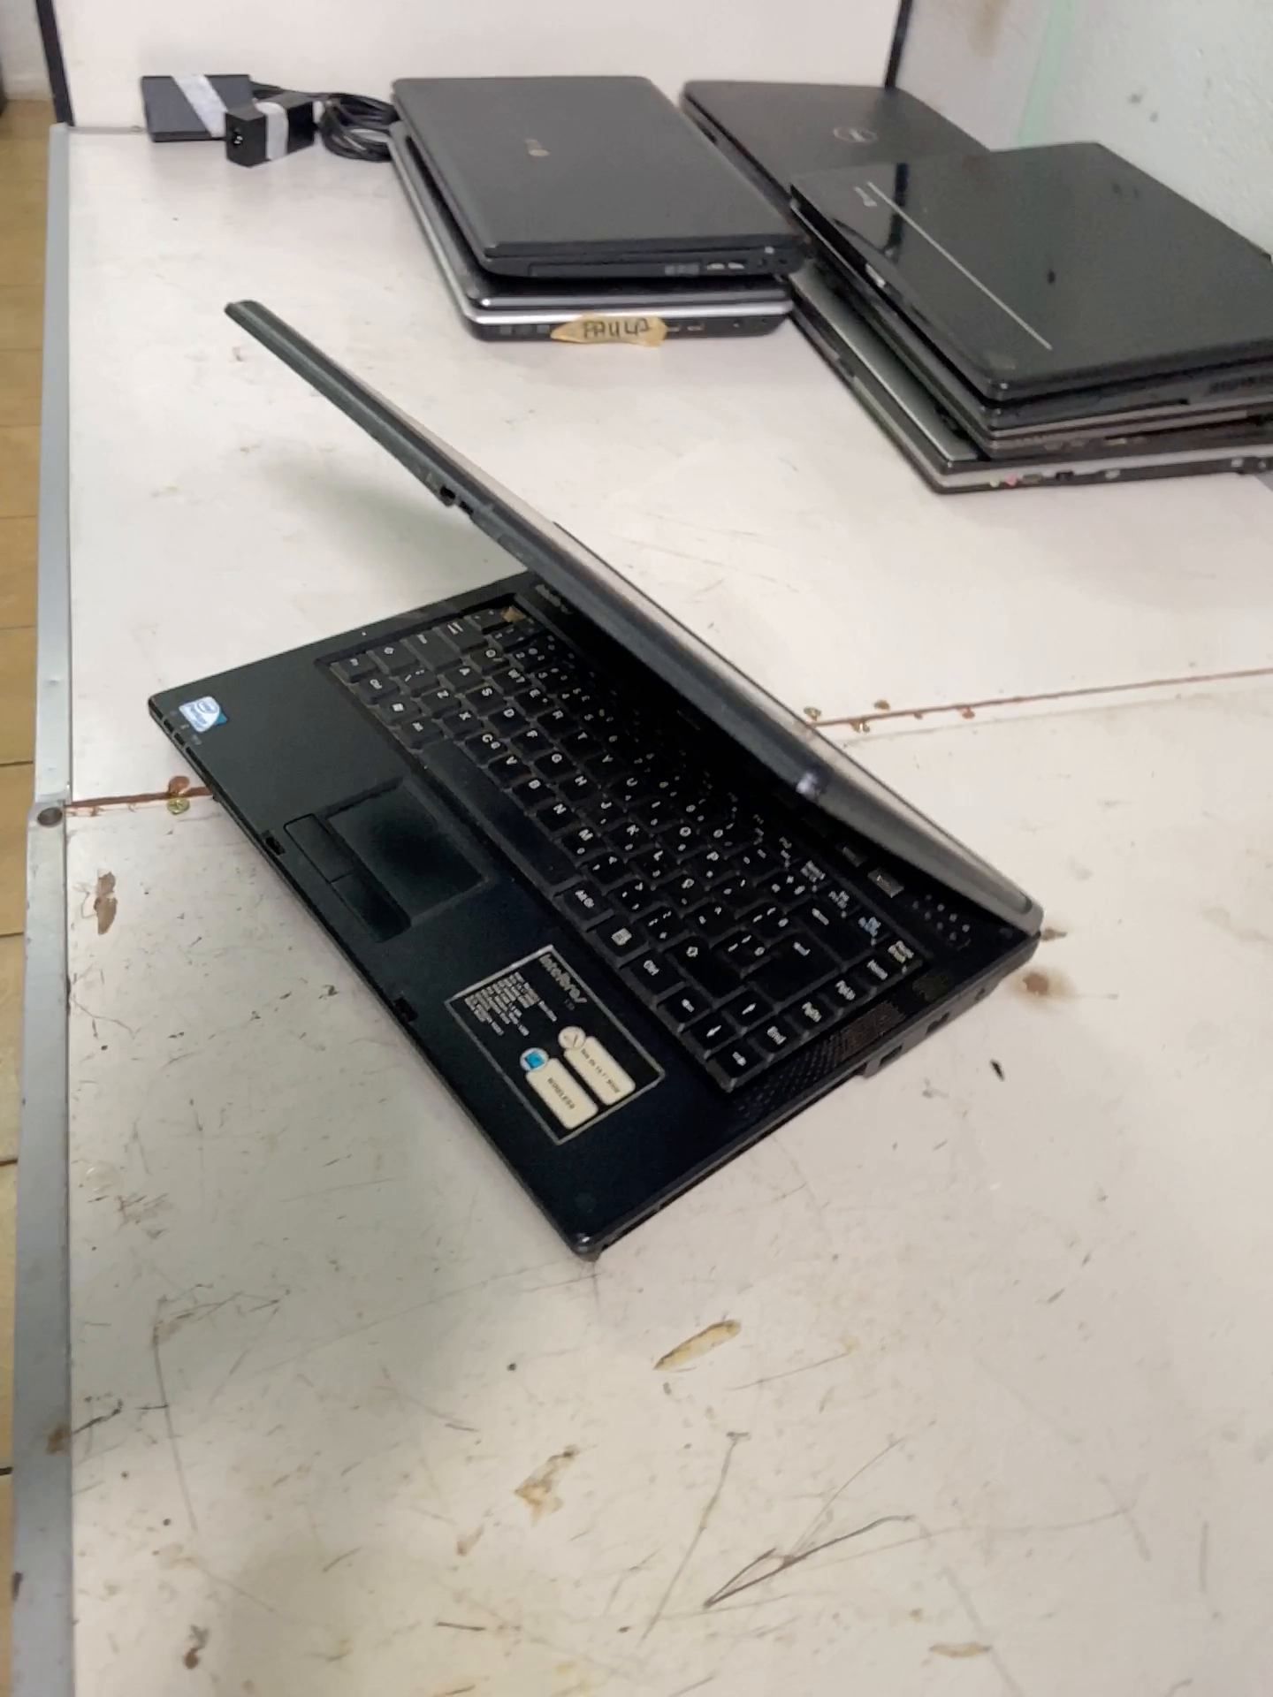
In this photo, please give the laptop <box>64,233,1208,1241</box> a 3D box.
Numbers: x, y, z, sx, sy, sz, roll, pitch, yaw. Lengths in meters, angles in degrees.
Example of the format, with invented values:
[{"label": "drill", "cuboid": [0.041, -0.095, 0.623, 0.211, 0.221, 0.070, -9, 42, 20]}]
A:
[{"label": "laptop", "cuboid": [-0.021, -0.075, 0.500, 0.236, 0.168, 0.324, -26, 53, -30]}]
